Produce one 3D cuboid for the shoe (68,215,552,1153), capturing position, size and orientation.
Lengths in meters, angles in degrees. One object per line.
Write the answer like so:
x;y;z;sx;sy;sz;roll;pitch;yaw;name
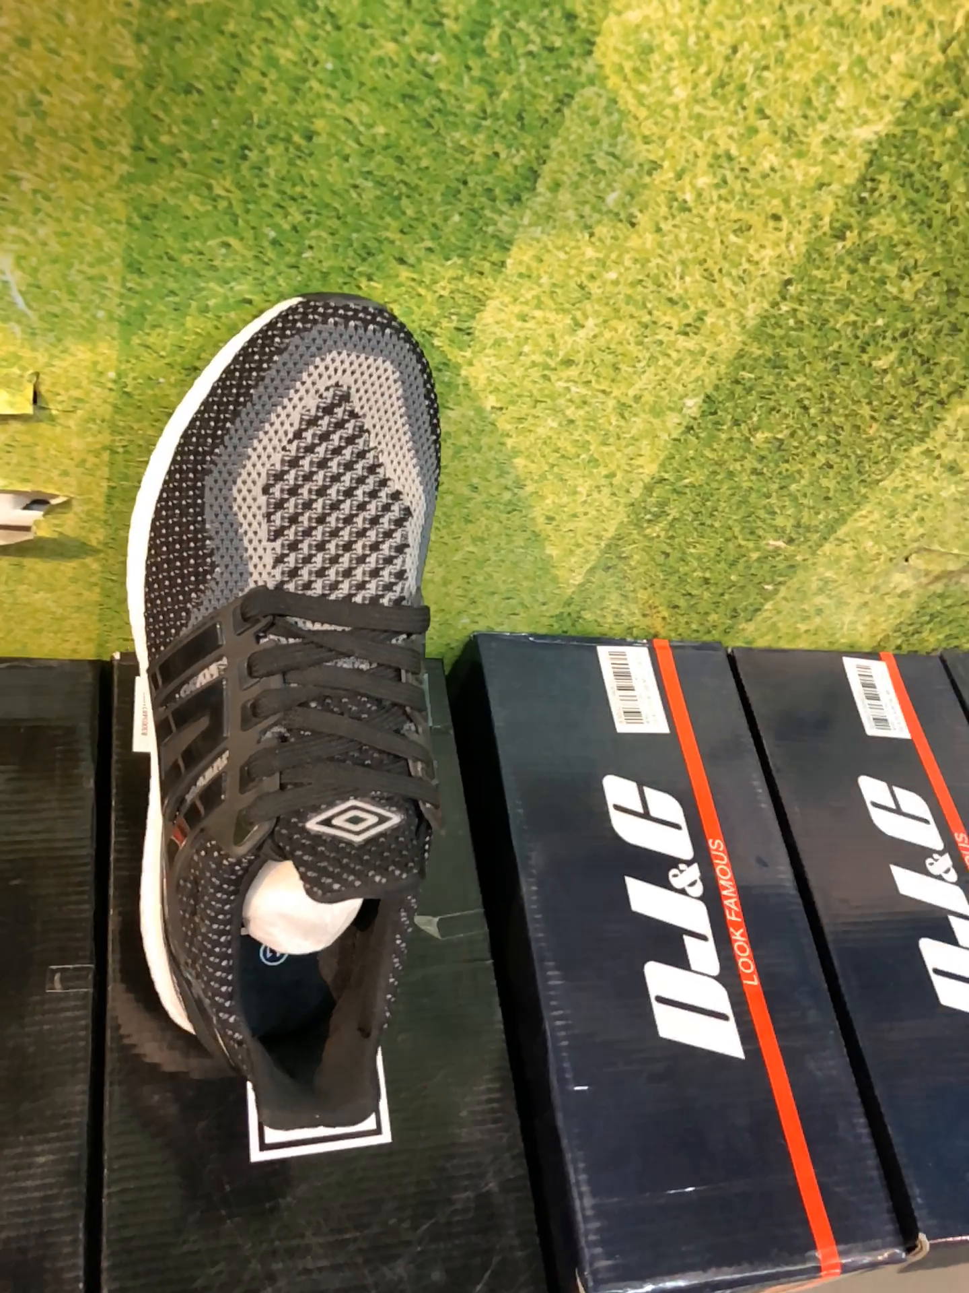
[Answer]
-0.071;0.009;0.382;0.111;0.122;0.268;1;98;-33;shoe
